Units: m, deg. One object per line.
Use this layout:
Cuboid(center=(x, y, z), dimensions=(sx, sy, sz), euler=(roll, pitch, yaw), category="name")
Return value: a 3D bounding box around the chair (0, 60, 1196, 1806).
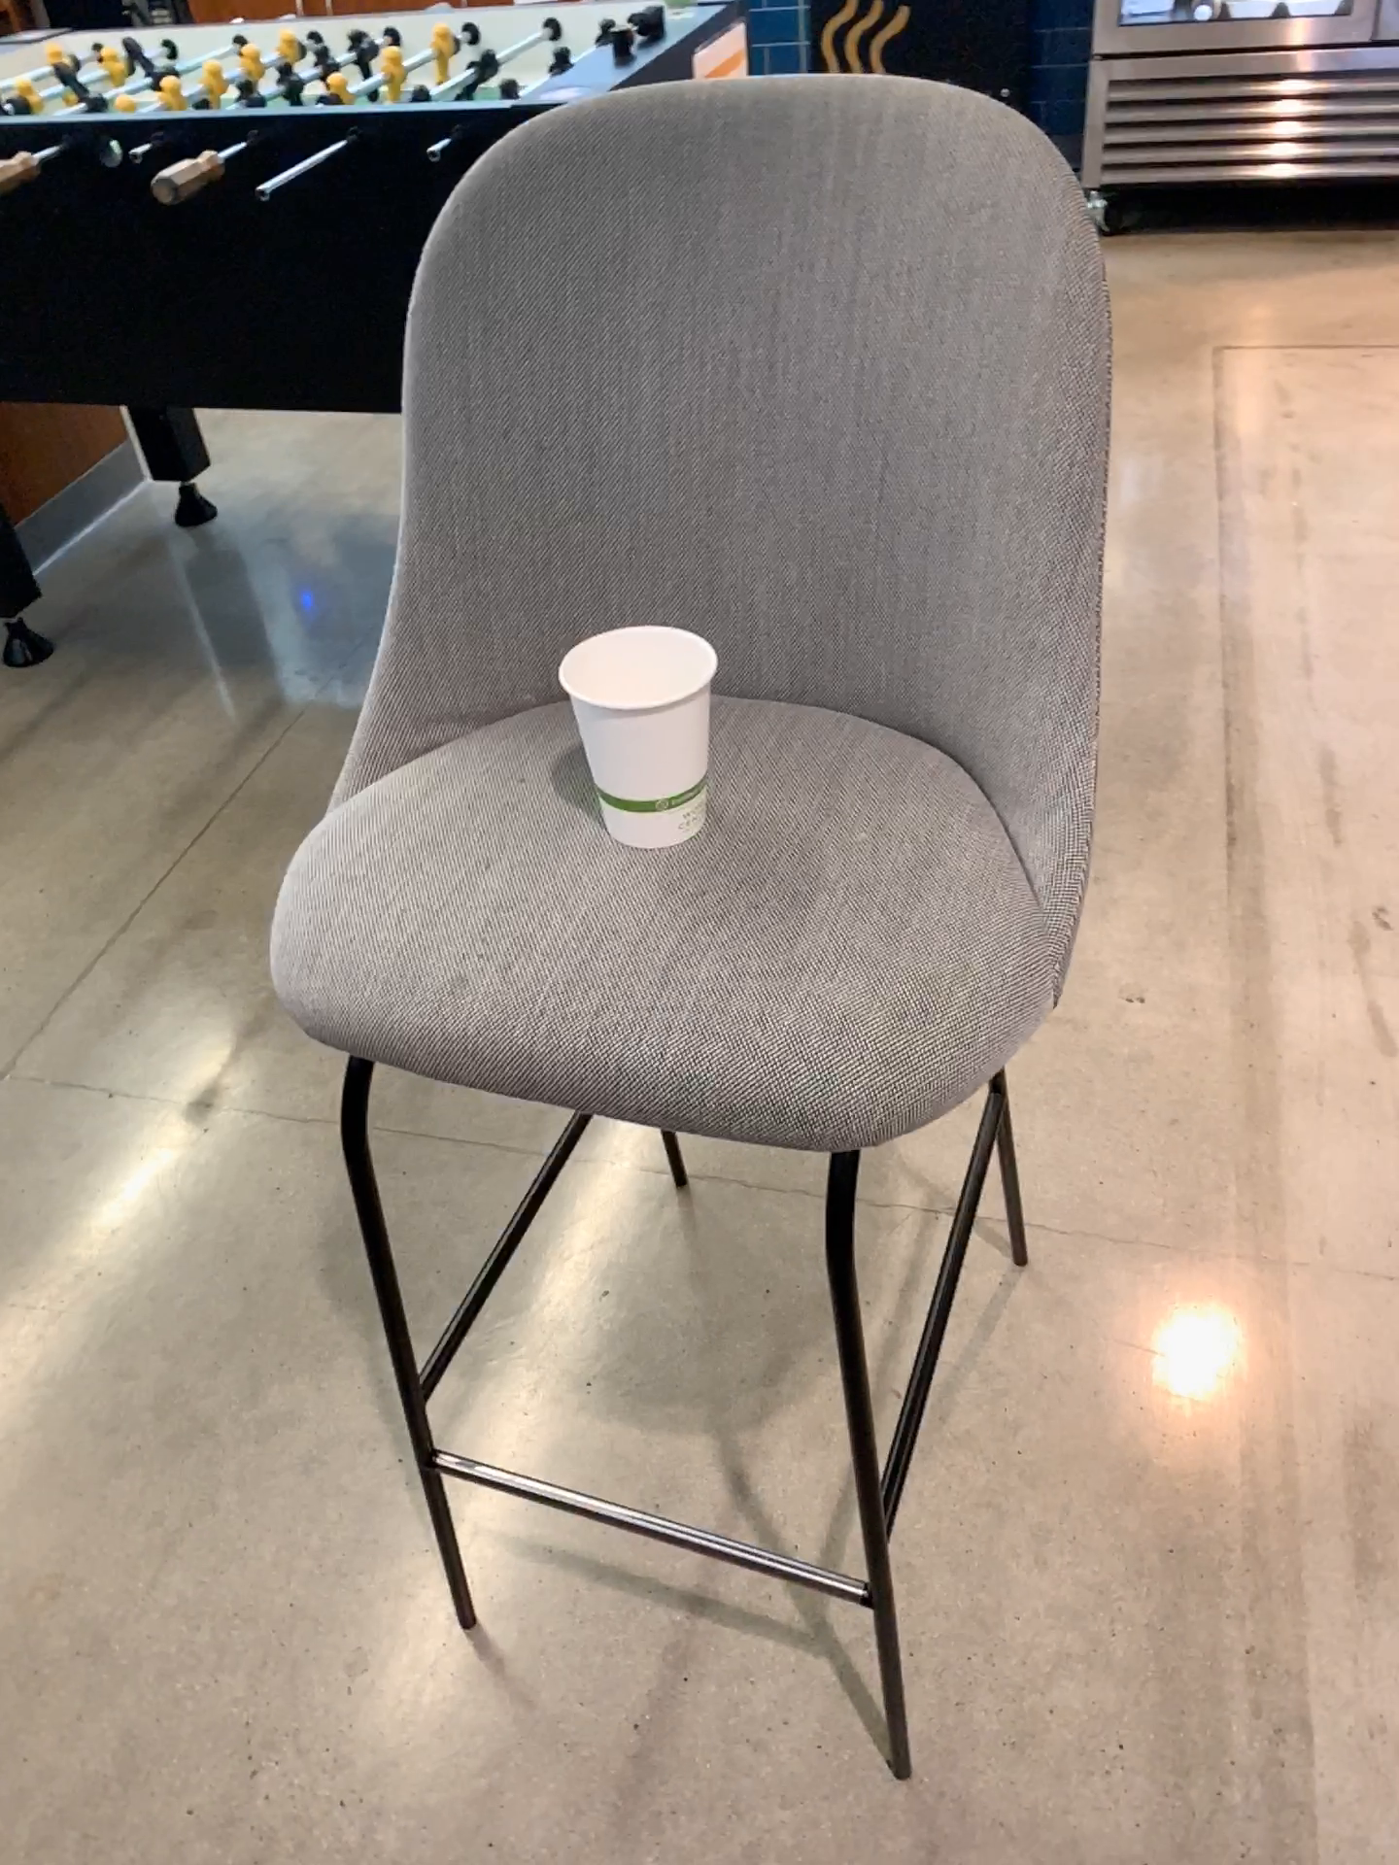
Cuboid(center=(0.011, 0.049, 1.026), dimensions=(0.471, 1.053, 0.572), euler=(10, 43, 18), category="chair")
